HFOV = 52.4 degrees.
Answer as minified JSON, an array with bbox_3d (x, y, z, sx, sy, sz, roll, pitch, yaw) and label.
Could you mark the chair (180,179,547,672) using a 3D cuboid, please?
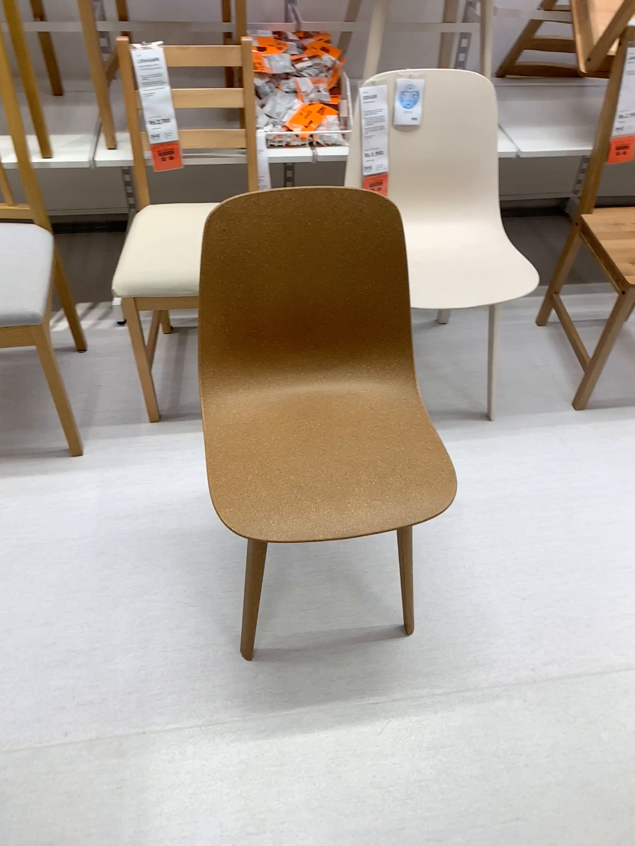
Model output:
[{"bbox_3d":[0.010,0.020,1.265,0.460,0.757,0.562,-5,45,-8],"label":"chair"}]
